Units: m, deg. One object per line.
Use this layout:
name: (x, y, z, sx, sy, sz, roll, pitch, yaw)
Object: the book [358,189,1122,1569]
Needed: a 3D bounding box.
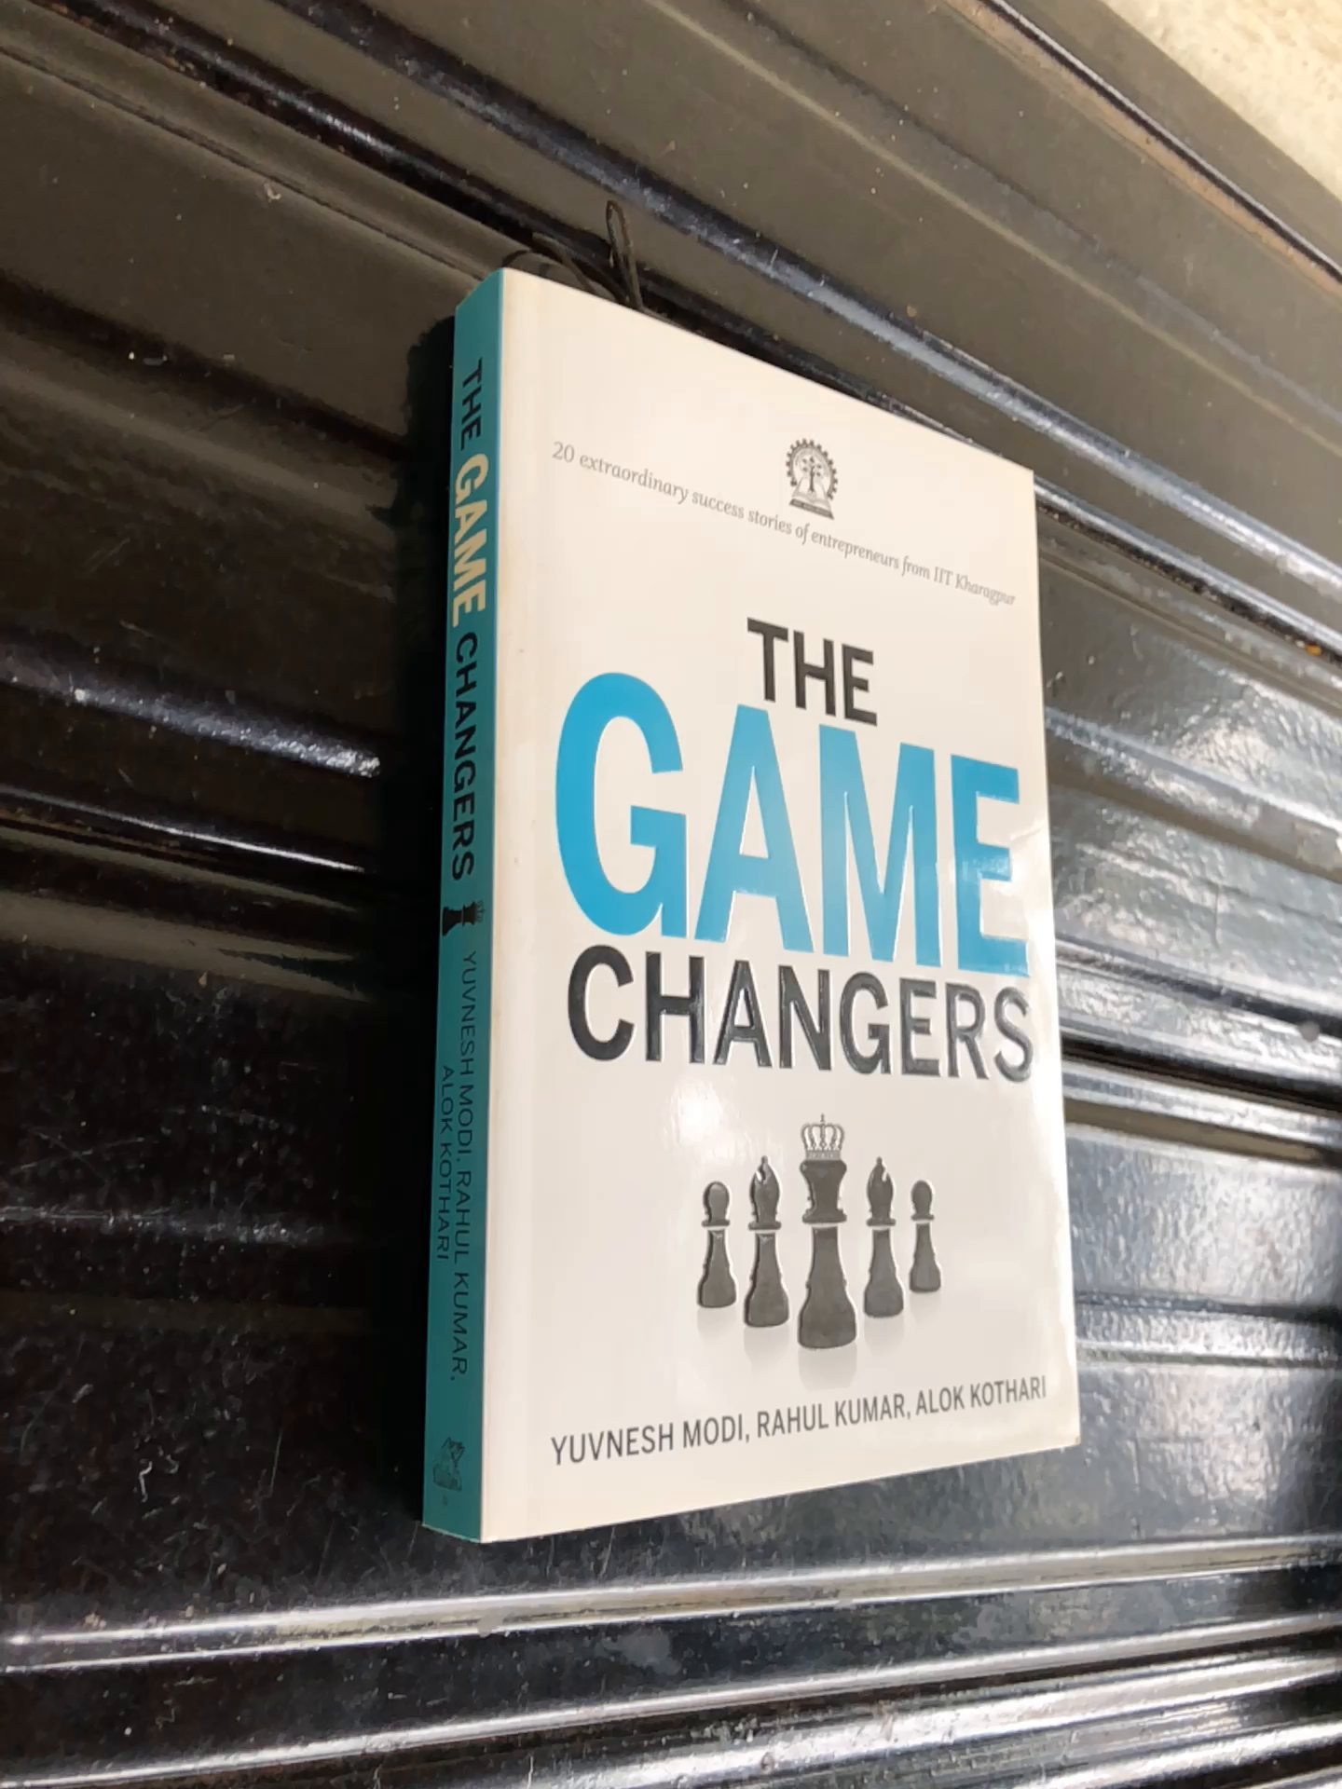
book: (0.018, -0.002, 0.275, 0.141, 0.030, 0.210, 7, 77, -34)
